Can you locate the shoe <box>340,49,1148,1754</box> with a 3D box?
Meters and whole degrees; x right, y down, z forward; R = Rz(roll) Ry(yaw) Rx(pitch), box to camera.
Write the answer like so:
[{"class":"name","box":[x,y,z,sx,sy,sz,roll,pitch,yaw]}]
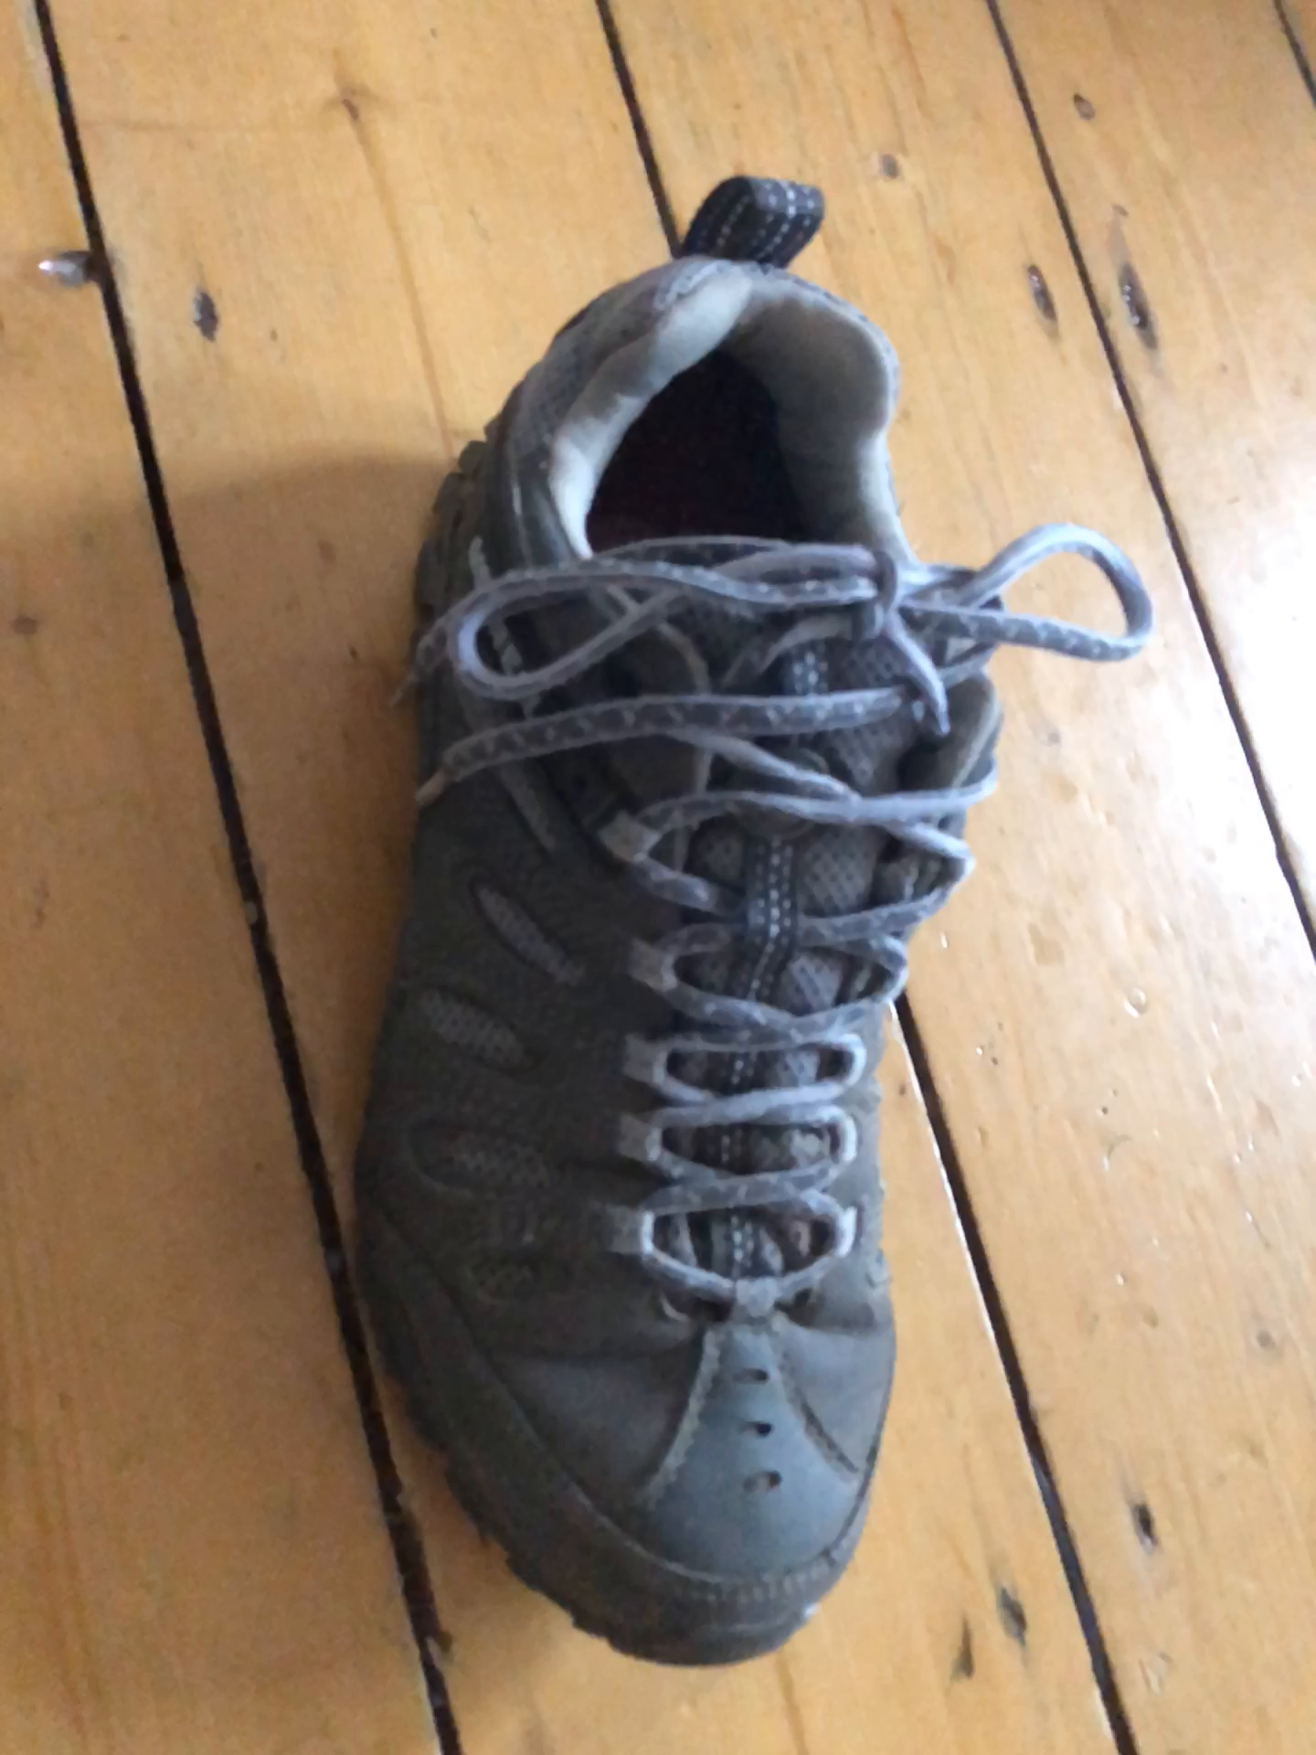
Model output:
[{"class":"shoe","box":[-0.001,0.008,0.284,0.100,0.110,0.280,3,75,-24]}]
